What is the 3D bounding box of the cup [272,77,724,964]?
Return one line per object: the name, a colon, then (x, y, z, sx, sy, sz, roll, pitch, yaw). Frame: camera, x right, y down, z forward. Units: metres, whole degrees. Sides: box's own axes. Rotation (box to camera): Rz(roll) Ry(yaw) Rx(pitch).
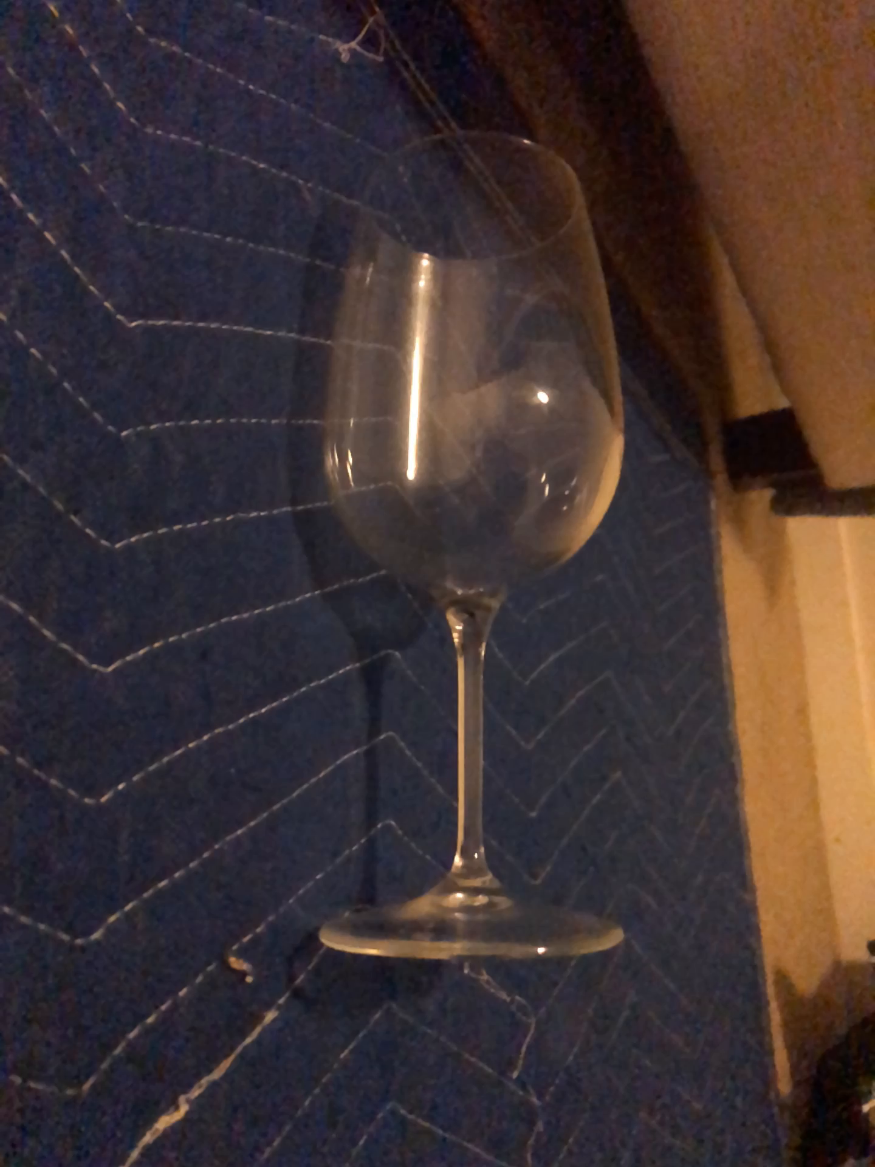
cup: (0.019, -0.012, 0.274, 0.081, 0.089, 0.210, 26, 61, -59)
